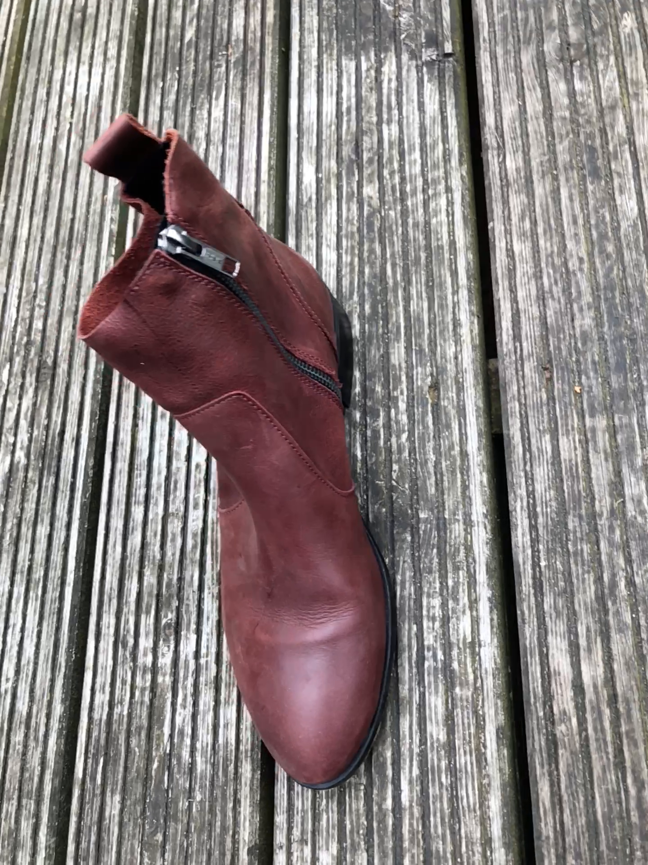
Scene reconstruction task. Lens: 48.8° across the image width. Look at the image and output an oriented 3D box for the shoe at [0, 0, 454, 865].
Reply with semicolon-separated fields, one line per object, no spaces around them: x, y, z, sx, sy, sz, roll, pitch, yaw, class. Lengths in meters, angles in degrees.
-0.013;0.013;0.352;0.090;0.239;0.341;-6;72;21;shoe
